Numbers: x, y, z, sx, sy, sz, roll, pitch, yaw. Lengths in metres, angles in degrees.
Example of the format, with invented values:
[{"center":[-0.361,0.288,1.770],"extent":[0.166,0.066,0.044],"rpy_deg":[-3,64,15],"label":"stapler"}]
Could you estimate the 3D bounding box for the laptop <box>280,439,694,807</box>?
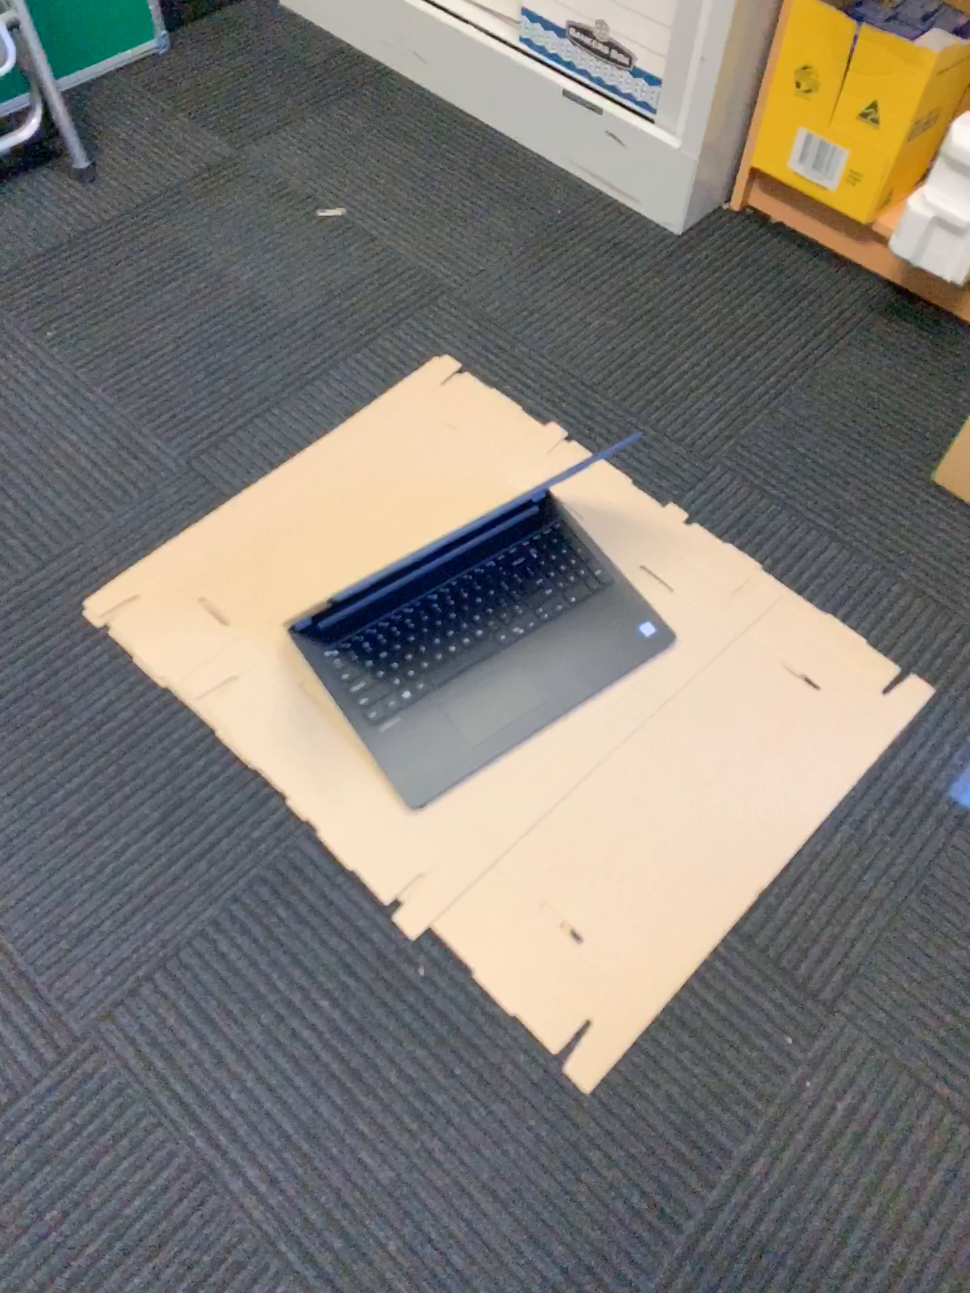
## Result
[{"center":[0.004,-0.035,0.983],"extent":[0.341,0.085,0.221],"rpy_deg":[-30,67,-20],"label":"laptop"}]
